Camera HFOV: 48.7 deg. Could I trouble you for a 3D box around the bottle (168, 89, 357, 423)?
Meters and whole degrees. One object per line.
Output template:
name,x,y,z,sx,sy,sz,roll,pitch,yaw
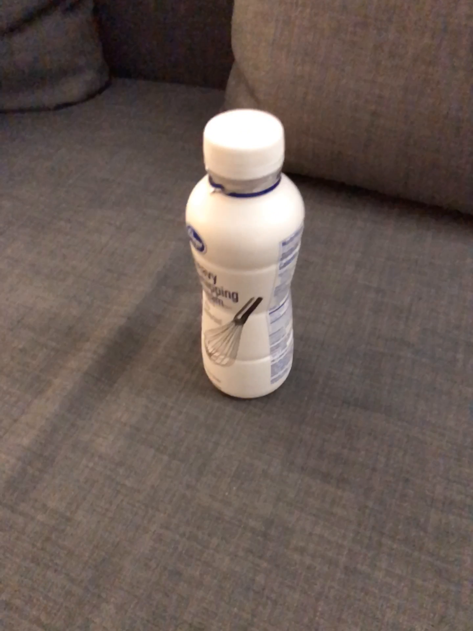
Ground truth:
bottle,0.015,-0.026,0.325,0.070,0.189,0.070,-2,45,2
